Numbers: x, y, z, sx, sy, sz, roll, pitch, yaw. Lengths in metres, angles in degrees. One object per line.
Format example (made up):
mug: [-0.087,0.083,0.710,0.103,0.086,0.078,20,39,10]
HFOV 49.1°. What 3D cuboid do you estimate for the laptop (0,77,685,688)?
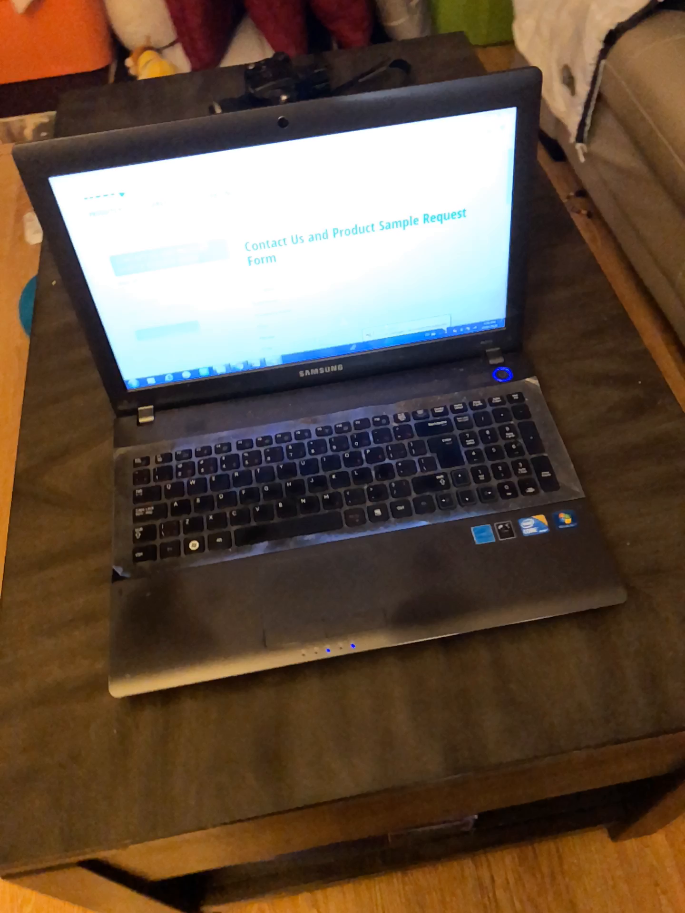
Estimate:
laptop: [-0.013,-0.057,0.534,0.367,0.231,0.309,-10,53,-4]
